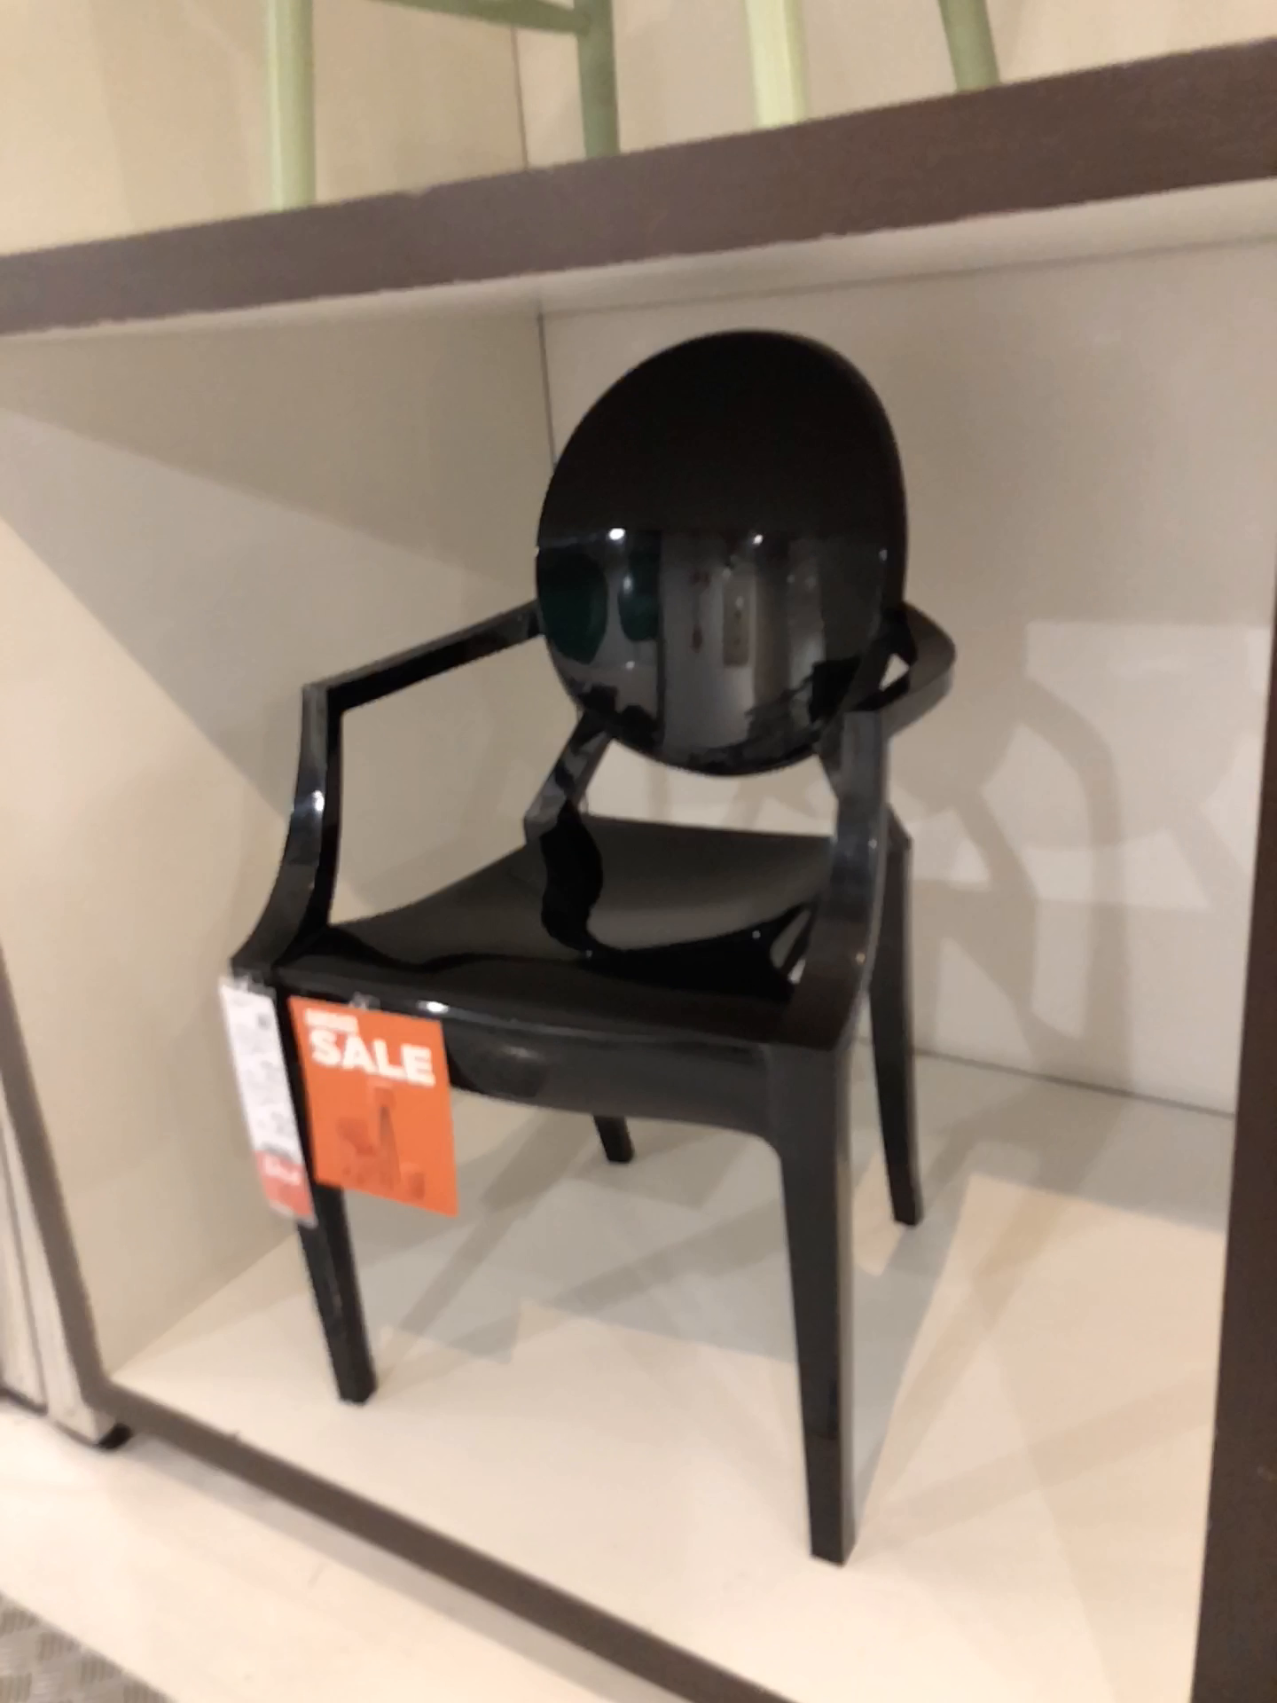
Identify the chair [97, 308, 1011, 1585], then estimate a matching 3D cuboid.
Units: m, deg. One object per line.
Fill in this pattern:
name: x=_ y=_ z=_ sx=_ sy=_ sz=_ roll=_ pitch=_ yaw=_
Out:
chair: x=0.003 y=0.023 z=1.180 sx=0.510 sy=0.855 sz=0.493 roll=5 pitch=22 yaw=27
